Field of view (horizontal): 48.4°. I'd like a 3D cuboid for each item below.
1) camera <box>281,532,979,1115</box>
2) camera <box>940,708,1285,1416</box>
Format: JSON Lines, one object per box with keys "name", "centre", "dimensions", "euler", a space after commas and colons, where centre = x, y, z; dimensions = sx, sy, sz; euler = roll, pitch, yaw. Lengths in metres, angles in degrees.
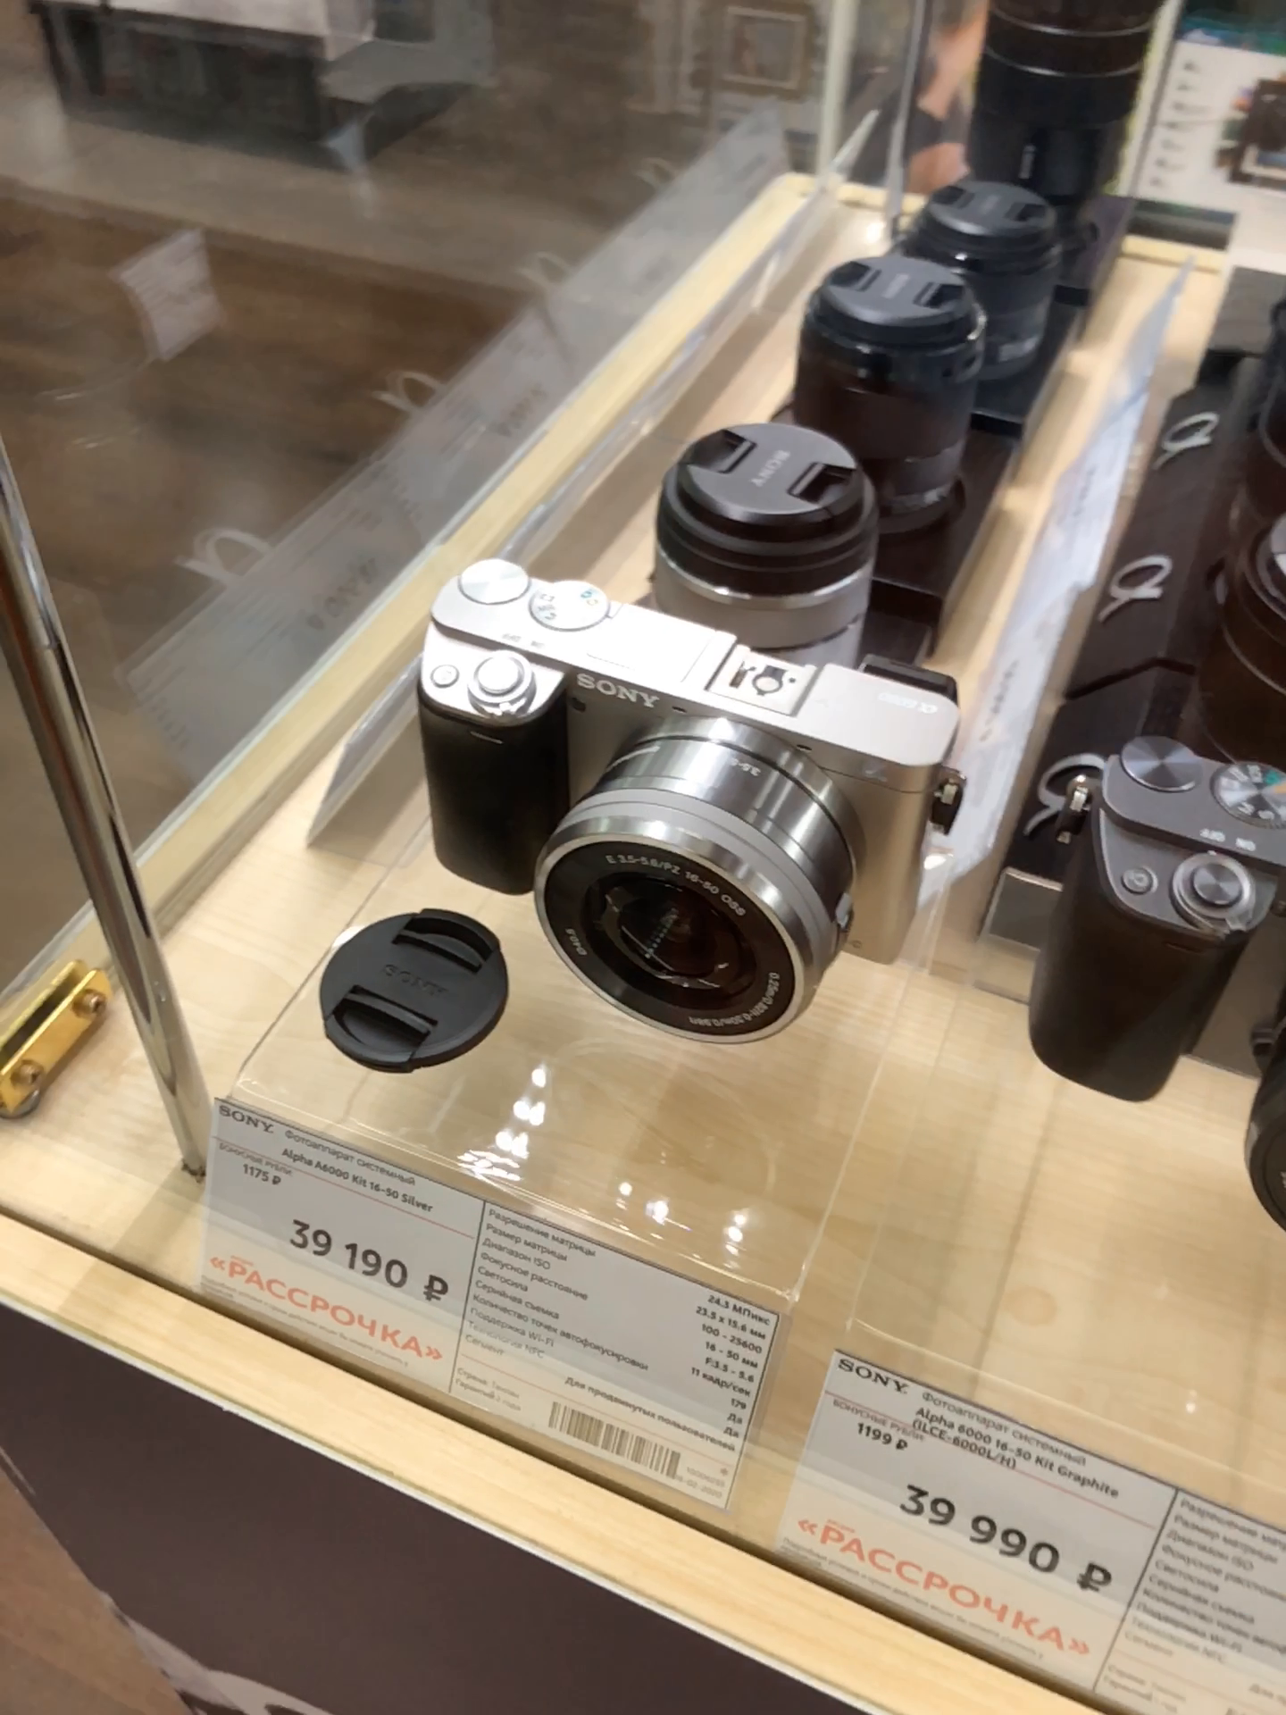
{"name": "camera", "centre": [-0.001, -0.012, 0.317], "dimensions": [0.124, 0.061, 0.076], "euler": [19, 49, 16]}
{"name": "camera", "centre": [0.135, 0.035, 0.277], "dimensions": [0.127, 0.061, 0.076], "euler": [19, 49, 16]}
